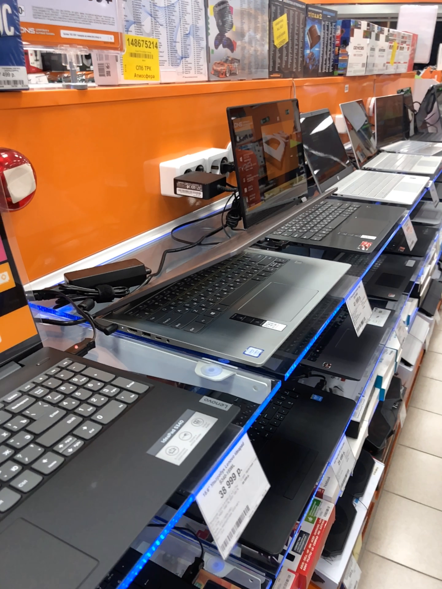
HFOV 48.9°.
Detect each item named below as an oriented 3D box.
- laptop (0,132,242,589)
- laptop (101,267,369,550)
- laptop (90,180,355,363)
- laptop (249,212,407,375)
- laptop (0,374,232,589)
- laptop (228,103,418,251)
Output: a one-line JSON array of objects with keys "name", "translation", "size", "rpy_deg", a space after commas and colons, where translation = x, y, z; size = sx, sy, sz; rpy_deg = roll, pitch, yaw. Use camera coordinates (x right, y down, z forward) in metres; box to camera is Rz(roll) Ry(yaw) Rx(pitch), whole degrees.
[{"name": "laptop", "translation": [-0.181, 0.034, 0.295], "size": [0.276, 0.219, 0.330], "rpy_deg": [11, 26, 25]}, {"name": "laptop", "translation": [0.045, 0.140, 0.782], "size": [0.260, 0.223, 0.363], "rpy_deg": [13, 27, 27]}, {"name": "laptop", "translation": [0.024, -0.058, 0.638], "size": [0.210, 0.110, 0.314], "rpy_deg": [13, 27, 26]}, {"name": "laptop", "translation": [0.251, -0.023, 1.113], "size": [0.235, 0.228, 0.330], "rpy_deg": [13, 27, 25]}, {"name": "laptop", "translation": [-0.169, 0.289, 0.426], "size": [0.243, 0.222, 0.334], "rpy_deg": [16, 27, 25]}, {"name": "laptop", "translation": [0.205, -0.246, 0.932], "size": [0.246, 0.210, 0.329], "rpy_deg": [12, 26, 24]}]
